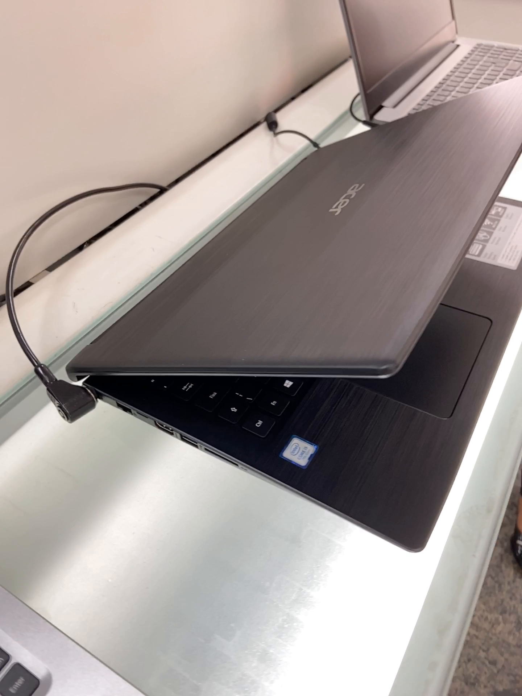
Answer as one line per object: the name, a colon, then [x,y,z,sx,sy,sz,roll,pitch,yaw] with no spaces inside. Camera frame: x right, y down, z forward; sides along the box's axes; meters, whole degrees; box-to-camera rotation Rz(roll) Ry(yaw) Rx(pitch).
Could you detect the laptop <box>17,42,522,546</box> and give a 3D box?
laptop: [0.069,-0.097,0.400,0.236,0.118,0.382,21,49,23]
